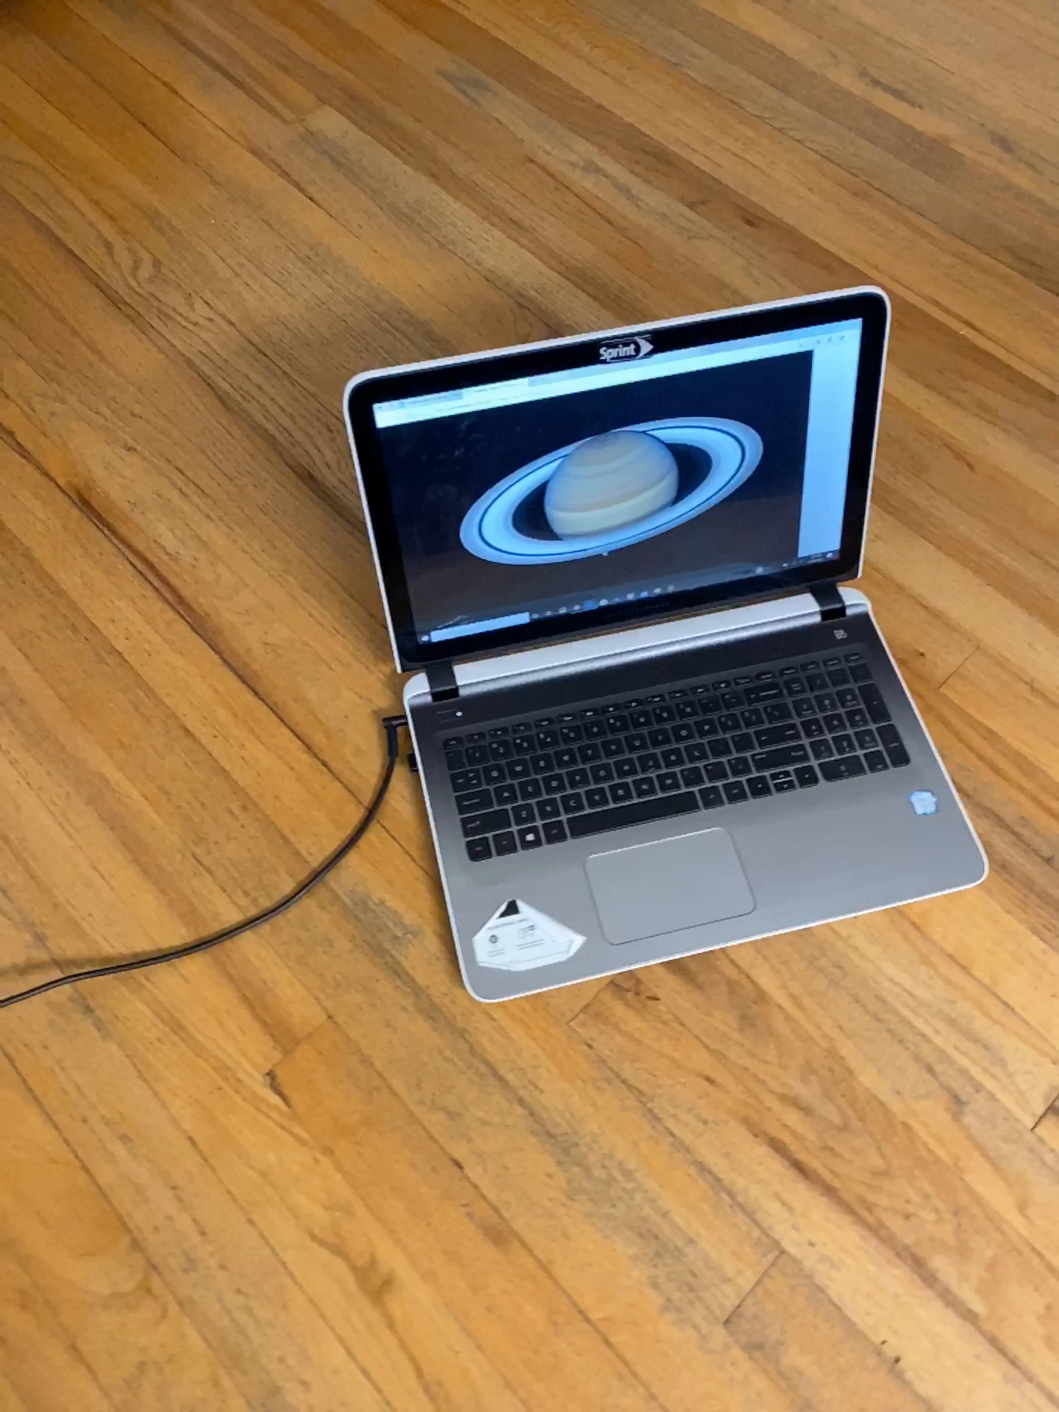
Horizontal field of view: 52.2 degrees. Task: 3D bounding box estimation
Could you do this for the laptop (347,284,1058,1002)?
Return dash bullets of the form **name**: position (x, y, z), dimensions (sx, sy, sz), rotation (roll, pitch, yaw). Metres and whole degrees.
- **laptop**: position (0.103, -0.048, 0.733), dimensions (0.371, 0.202, 0.364), rotation (-12, 63, -7)
